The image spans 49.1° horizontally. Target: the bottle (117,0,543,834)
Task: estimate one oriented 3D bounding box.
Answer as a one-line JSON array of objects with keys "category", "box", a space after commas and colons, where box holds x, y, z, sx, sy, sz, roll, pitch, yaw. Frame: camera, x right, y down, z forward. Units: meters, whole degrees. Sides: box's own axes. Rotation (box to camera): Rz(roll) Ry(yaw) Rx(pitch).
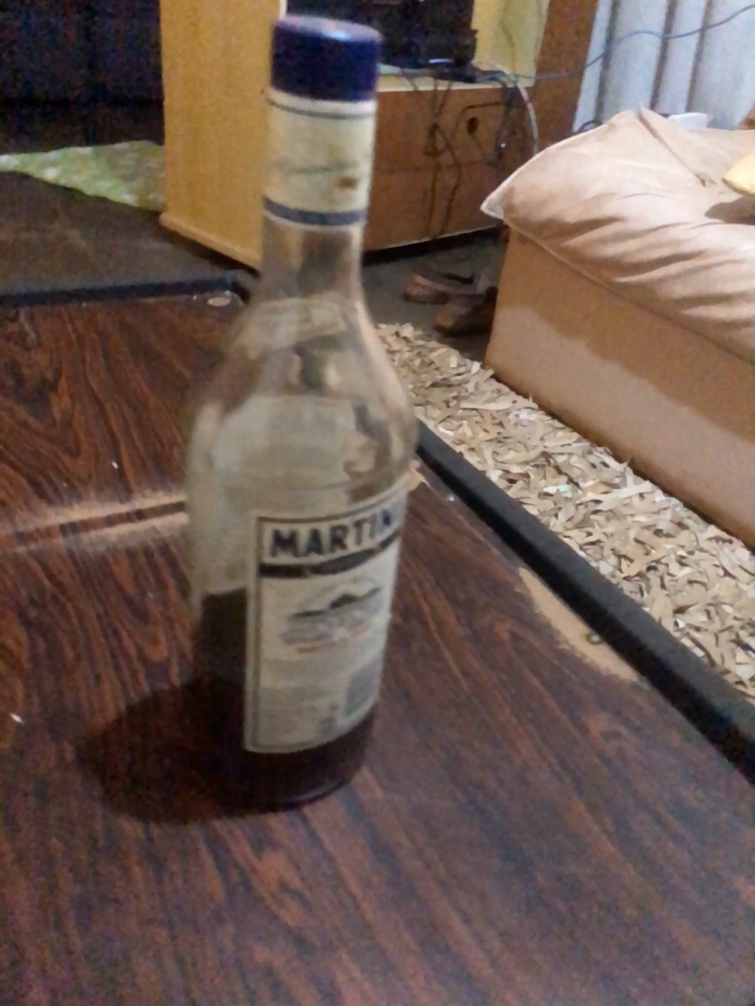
[{"category": "bottle", "box": [-0.032, -0.018, 0.322, 0.100, 0.298, 0.091, -9, 35, -23]}]
